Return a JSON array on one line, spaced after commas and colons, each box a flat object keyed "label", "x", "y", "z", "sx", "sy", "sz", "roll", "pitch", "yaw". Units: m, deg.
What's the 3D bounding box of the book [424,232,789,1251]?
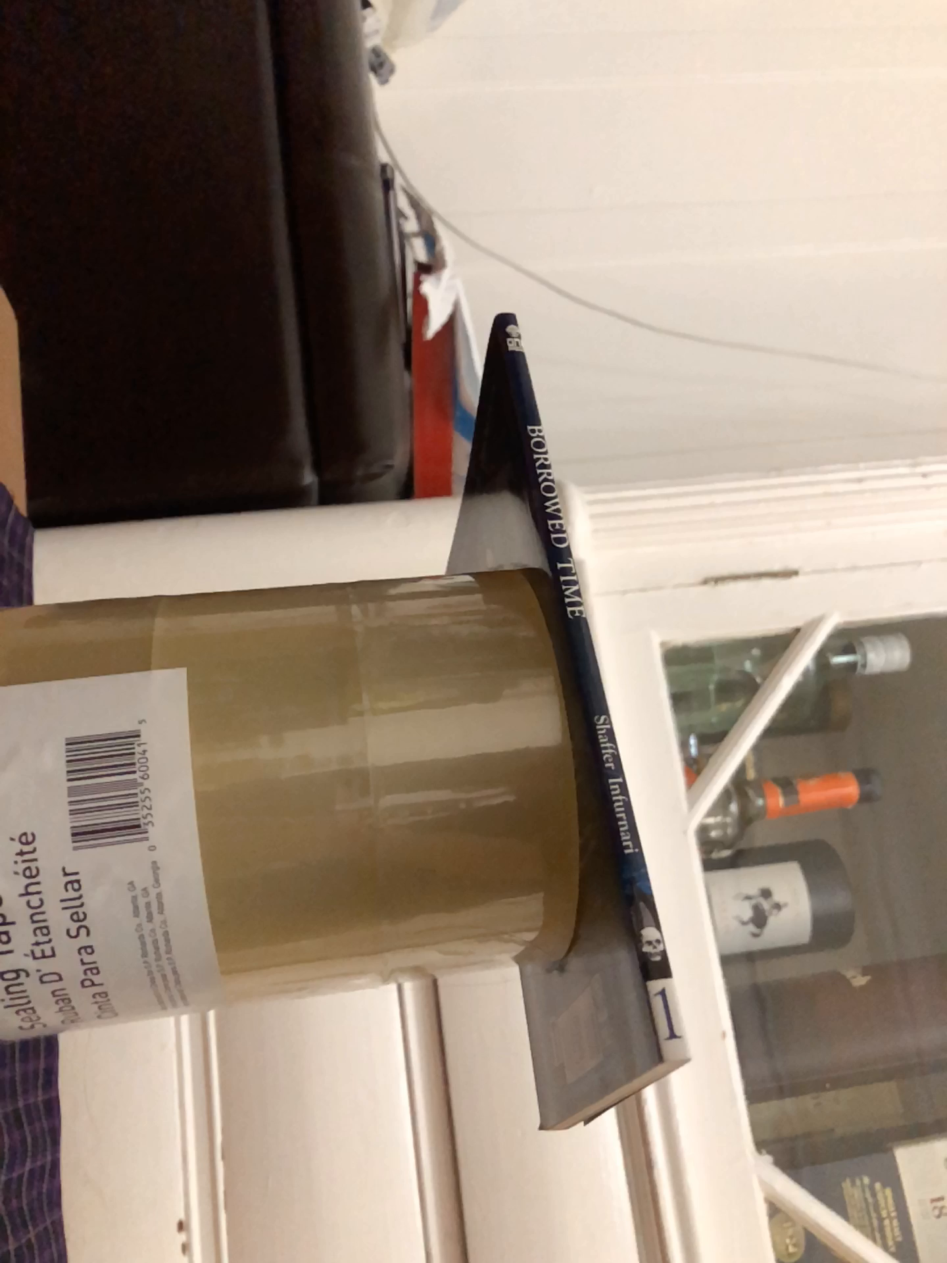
[{"label": "book", "x": 0.015, "y": 0.034, "z": 0.286, "sx": 0.160, "sy": 0.010, "sz": 0.230, "roll": 98, "pitch": -19, "yaw": -58}]
